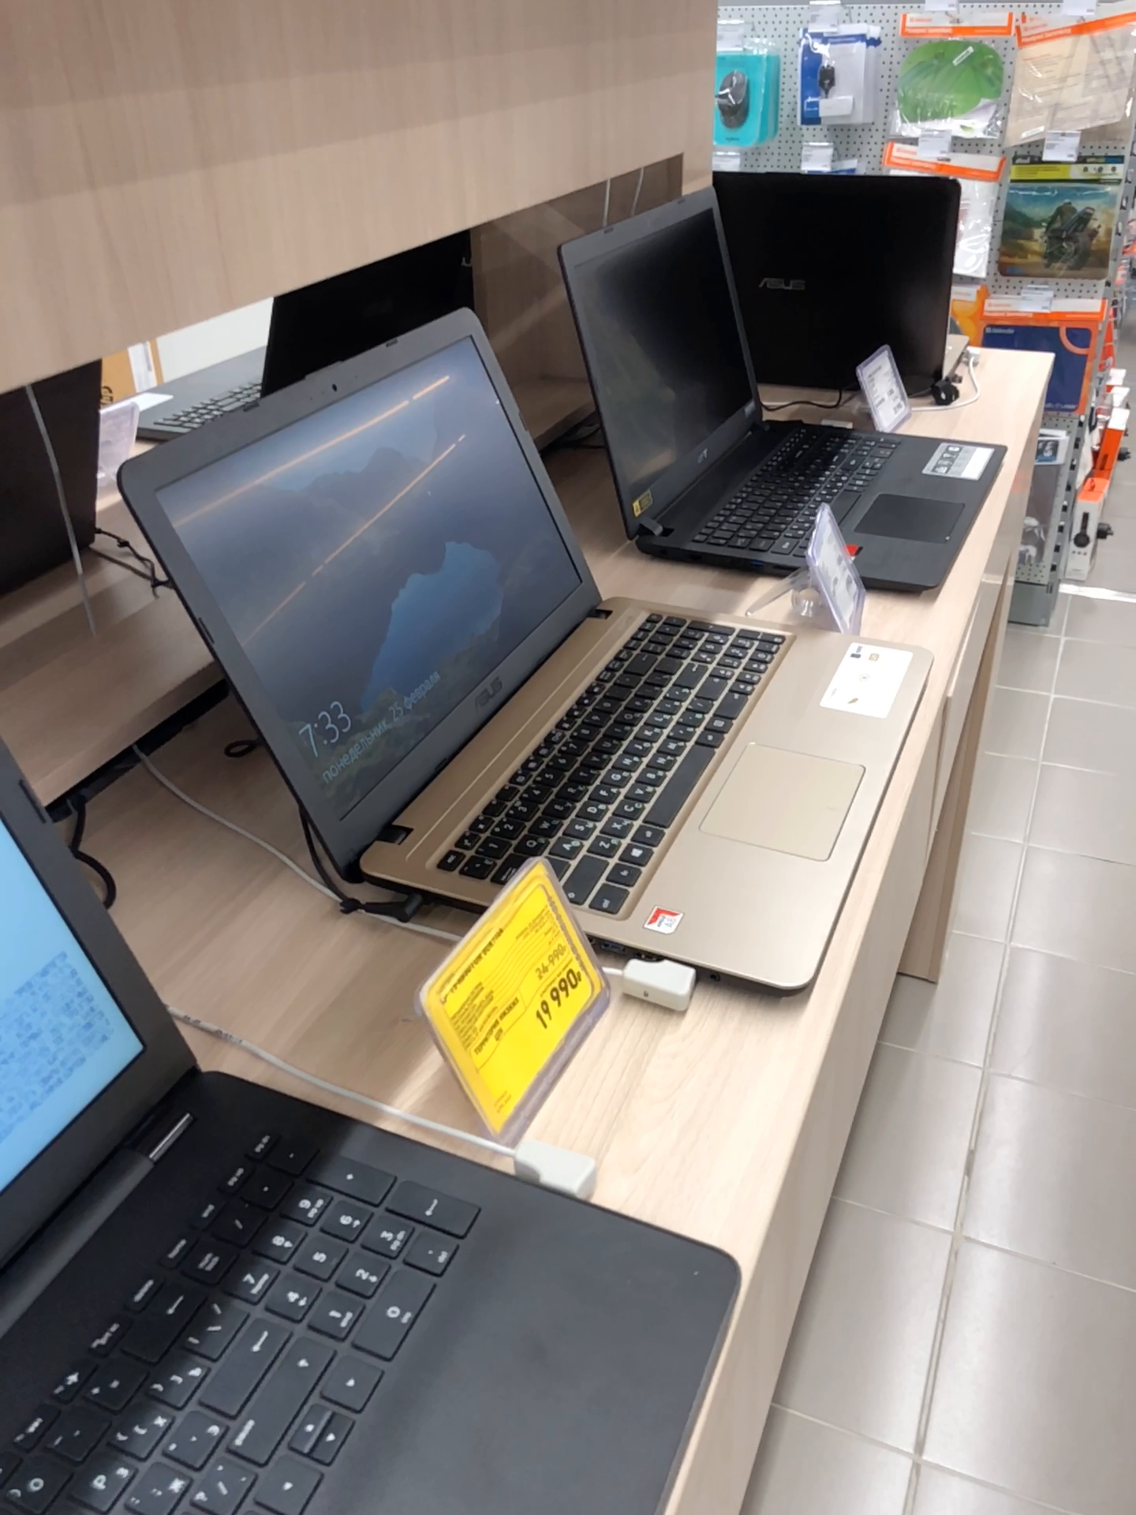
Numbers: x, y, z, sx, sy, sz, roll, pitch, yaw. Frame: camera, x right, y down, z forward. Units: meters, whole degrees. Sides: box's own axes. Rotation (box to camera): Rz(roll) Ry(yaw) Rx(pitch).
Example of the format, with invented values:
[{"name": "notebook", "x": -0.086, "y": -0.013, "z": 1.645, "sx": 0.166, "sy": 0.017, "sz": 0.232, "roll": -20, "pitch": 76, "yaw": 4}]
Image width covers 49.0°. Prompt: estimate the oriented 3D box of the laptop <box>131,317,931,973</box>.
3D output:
[{"name": "laptop", "x": 0.010, "y": -0.109, "z": 0.762, "sx": 0.350, "sy": 0.208, "sz": 0.368, "roll": 12, "pitch": 32, "yaw": 19}]
